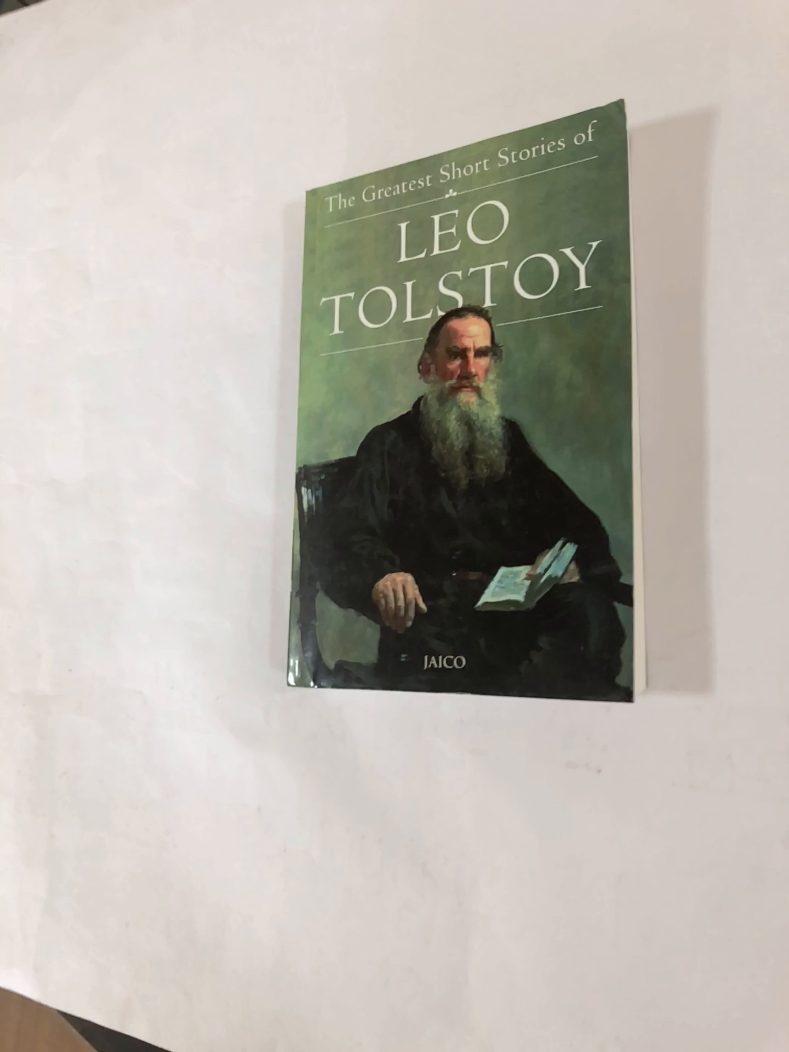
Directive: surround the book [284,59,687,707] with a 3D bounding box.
[{"bbox_3d":[0.030,-0.050,0.343,0.150,0.020,0.230,-4,79,28],"label":"book"}]
